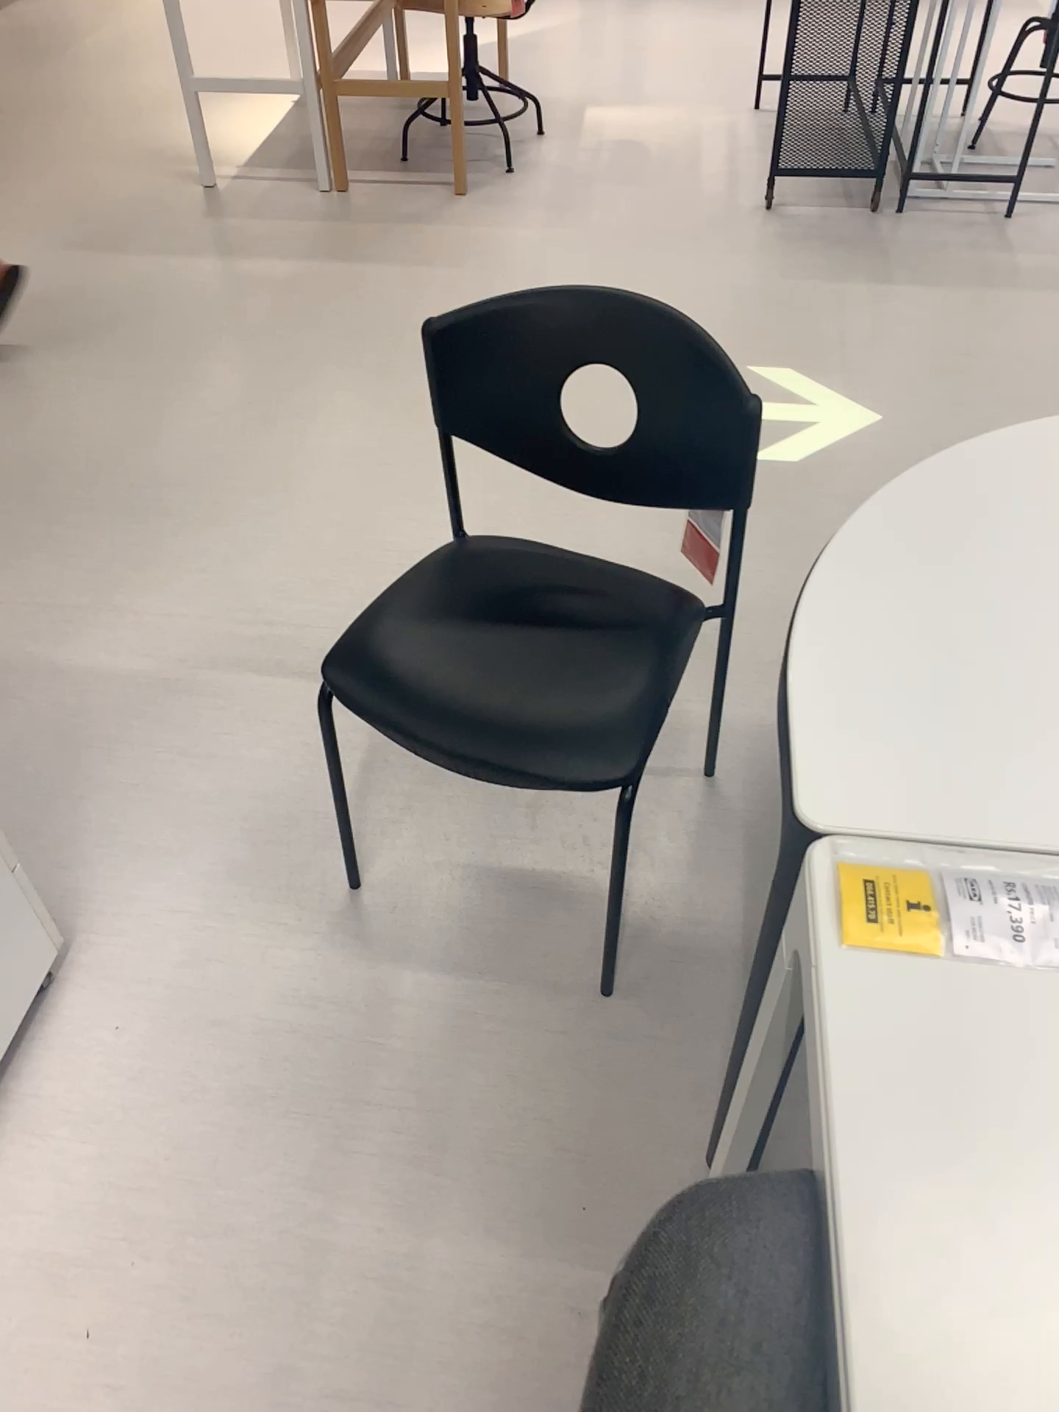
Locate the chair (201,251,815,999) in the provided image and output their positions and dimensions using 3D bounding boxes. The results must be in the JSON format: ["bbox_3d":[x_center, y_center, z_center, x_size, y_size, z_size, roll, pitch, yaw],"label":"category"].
[{"bbox_3d":[0.010,-0.113,1.497,0.510,0.737,0.582,17,48,17],"label":"chair"}]
